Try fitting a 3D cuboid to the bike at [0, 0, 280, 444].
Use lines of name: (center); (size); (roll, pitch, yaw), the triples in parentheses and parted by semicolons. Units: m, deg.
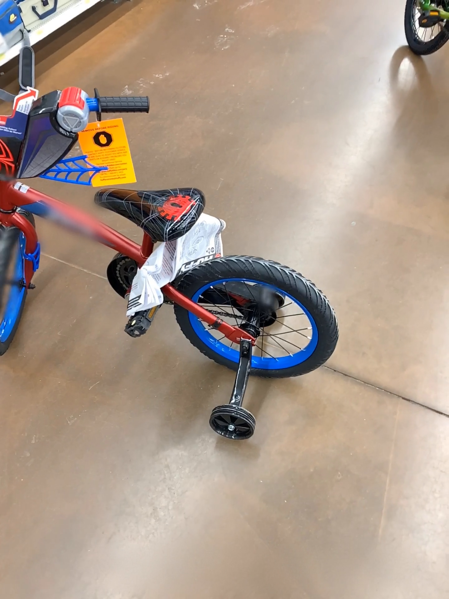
bike: (-0.238, -0.107, 0.805); (0.565, 0.709, 0.477); (3, 52, 6)
